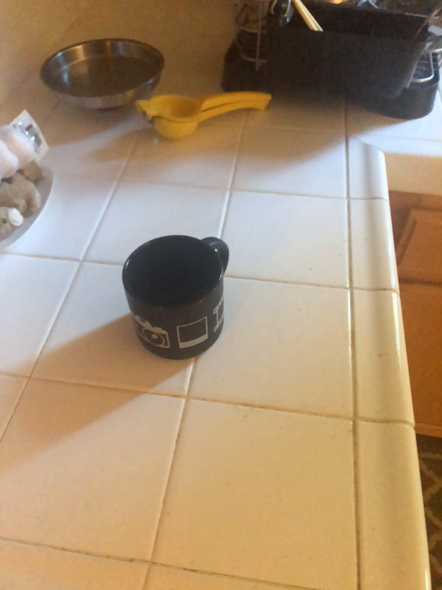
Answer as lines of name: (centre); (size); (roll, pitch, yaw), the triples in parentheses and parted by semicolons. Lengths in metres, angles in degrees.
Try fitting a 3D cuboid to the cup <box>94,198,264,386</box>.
cup: (-0.034, -0.006, 0.466); (0.090, 0.089, 0.131); (26, 55, 20)
